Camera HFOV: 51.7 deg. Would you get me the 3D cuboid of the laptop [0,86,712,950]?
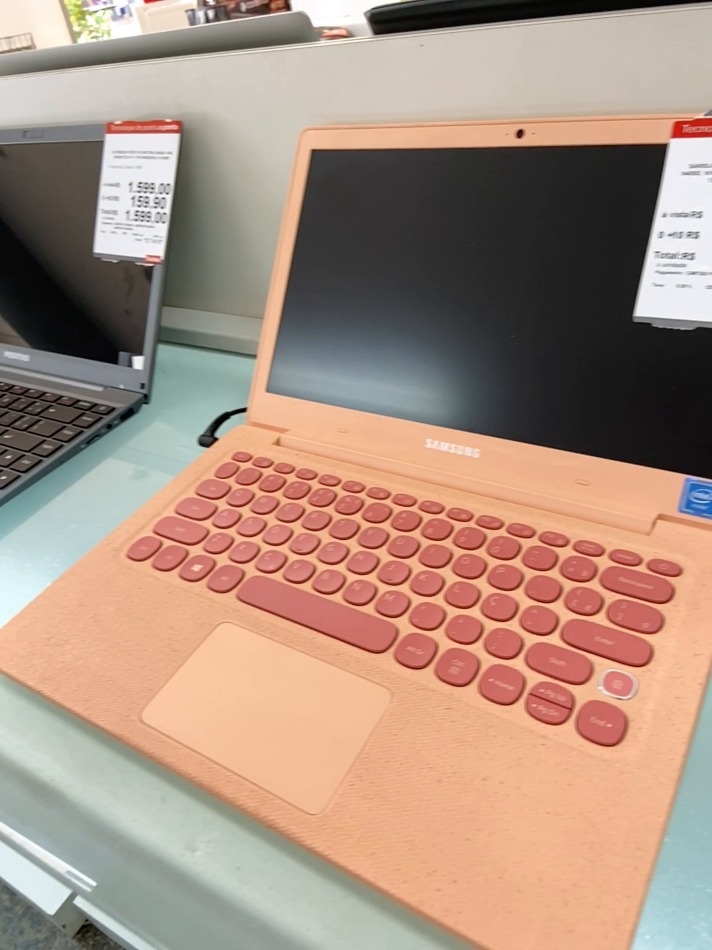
[{"bbox_3d":[0.021,-0.043,0.365,0.330,0.160,0.360,14,44,31],"label":"laptop"}]
